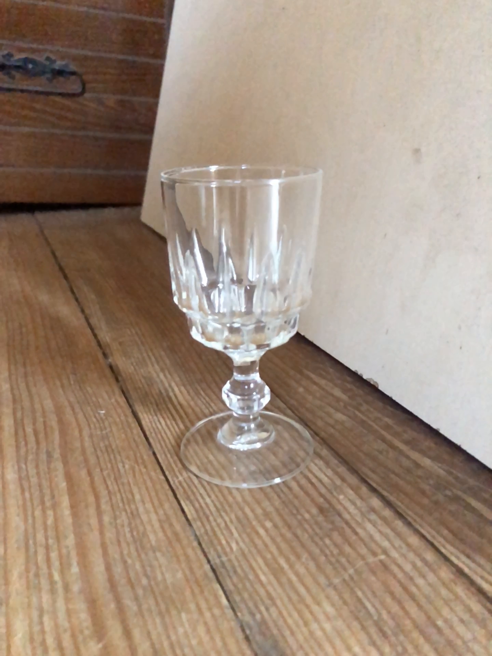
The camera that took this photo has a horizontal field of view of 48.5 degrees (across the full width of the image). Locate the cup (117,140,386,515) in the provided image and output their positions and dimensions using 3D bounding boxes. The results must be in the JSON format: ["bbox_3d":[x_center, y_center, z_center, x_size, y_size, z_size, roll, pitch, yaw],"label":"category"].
[{"bbox_3d":[0.000,-0.008,0.214,0.070,0.119,0.070,-1,22,0],"label":"cup"}]
